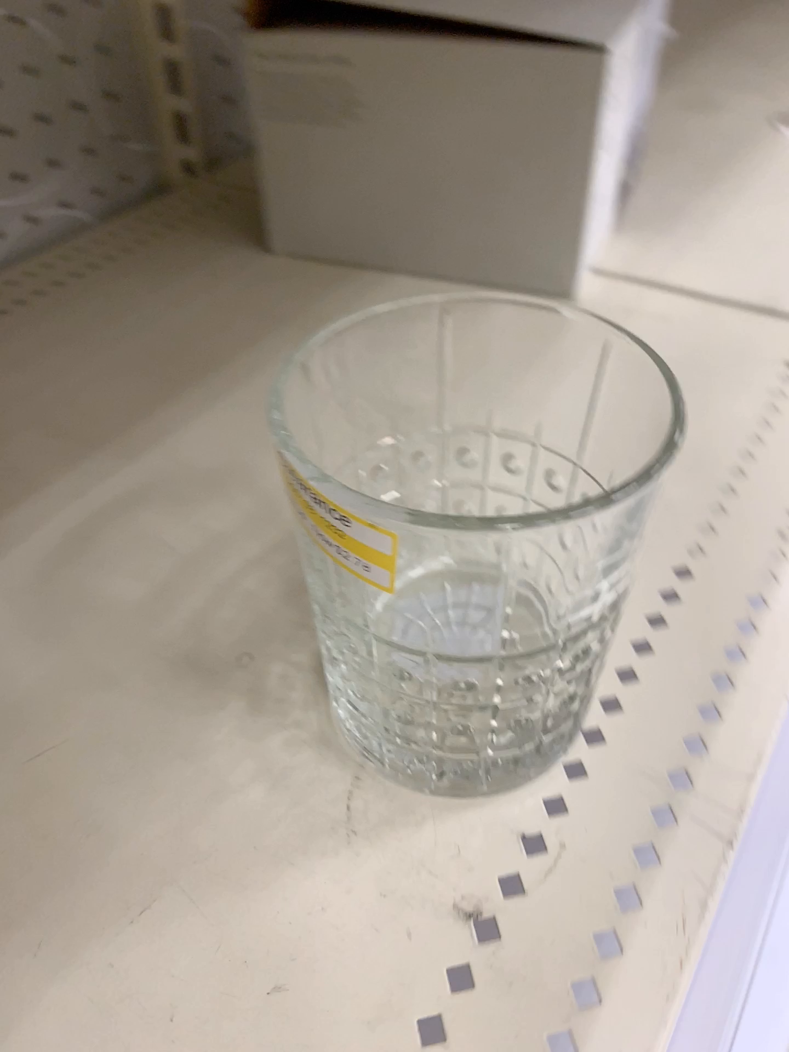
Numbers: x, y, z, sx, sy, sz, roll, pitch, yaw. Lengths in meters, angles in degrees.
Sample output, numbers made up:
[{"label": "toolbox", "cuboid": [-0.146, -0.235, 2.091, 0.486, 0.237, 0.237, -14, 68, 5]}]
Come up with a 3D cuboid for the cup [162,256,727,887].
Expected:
[{"label": "cup", "cuboid": [0.014, 0.009, 0.219, 0.090, 0.110, 0.090, 0, 43, 0]}]
